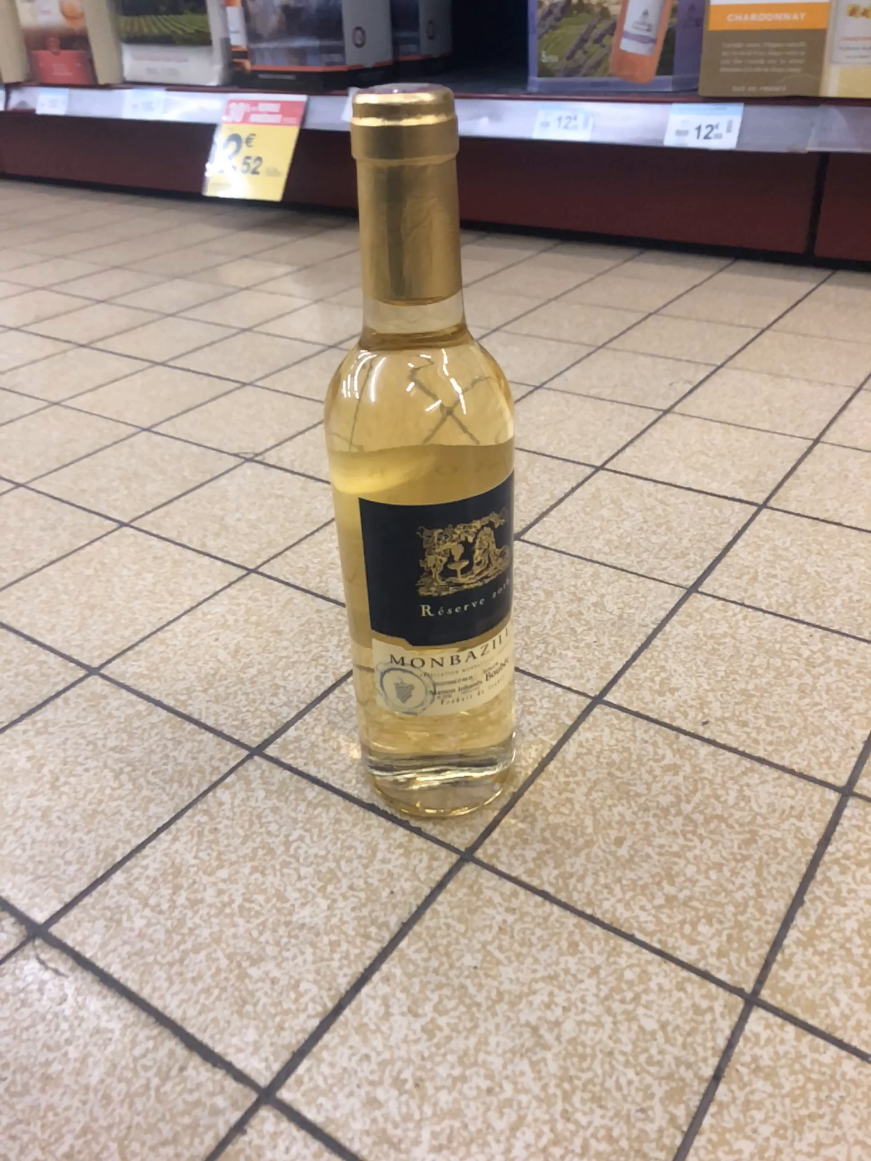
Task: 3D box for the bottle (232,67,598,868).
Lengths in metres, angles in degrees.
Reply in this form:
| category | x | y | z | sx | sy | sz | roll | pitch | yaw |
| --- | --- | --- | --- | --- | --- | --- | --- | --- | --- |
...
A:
| category | x | y | z | sx | sy | sz | roll | pitch | yaw |
| --- | --- | --- | --- | --- | --- | --- | --- | --- | --- |
| bottle | -0.003 | -0.028 | 0.312 | 0.070 | 0.239 | 0.070 | -2 | 31 | 1 |
